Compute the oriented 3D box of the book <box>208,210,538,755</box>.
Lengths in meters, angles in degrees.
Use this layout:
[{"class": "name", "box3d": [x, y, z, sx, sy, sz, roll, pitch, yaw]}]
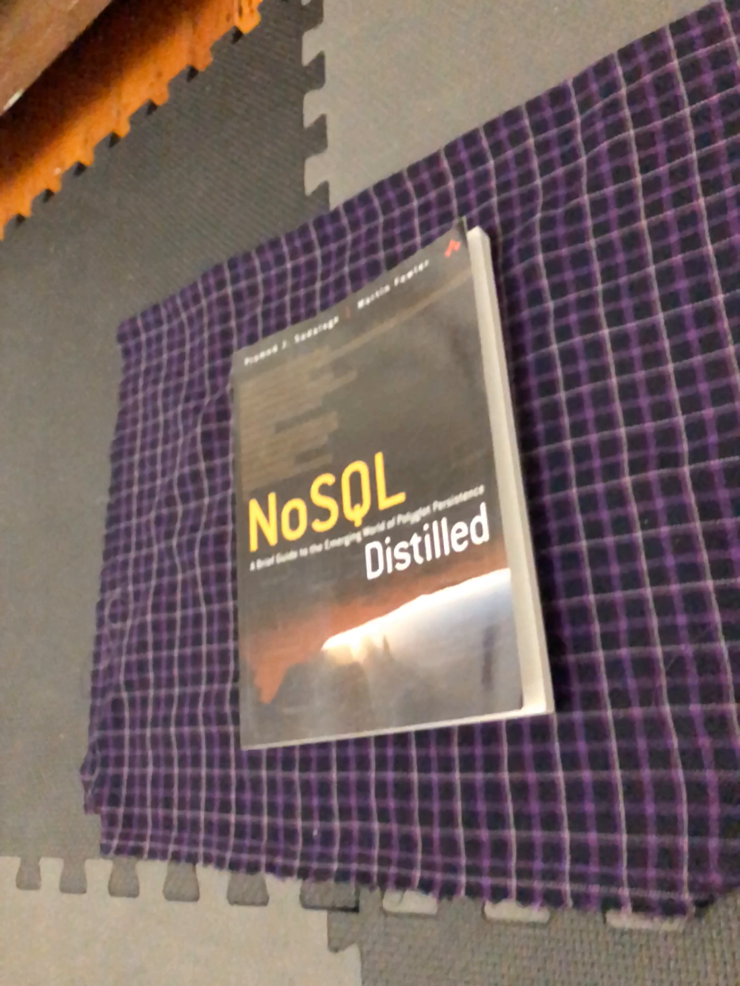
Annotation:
[{"class": "book", "box3d": [-0.017, 0.000, 0.440, 0.190, 0.020, 0.250, -20, 64, 36]}]
